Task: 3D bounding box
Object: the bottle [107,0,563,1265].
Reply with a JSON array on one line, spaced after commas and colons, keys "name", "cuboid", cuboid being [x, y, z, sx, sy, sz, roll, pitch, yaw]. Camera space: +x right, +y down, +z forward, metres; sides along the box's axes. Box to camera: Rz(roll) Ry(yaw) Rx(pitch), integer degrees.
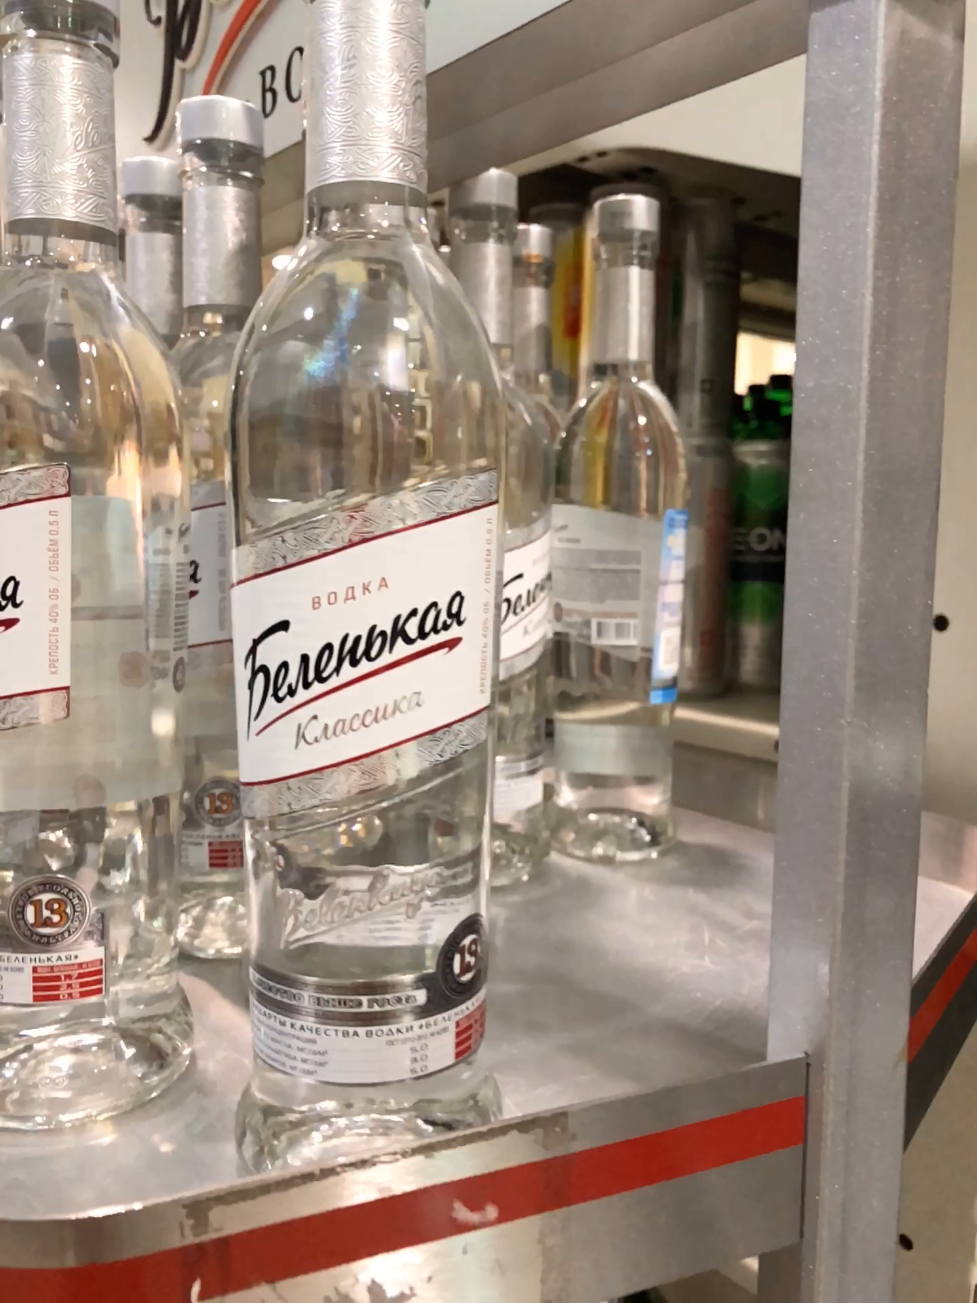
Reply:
[{"name": "bottle", "cuboid": [-0.026, -0.034, 0.249, 0.080, 0.309, 0.080, 0, 6, 0]}]
